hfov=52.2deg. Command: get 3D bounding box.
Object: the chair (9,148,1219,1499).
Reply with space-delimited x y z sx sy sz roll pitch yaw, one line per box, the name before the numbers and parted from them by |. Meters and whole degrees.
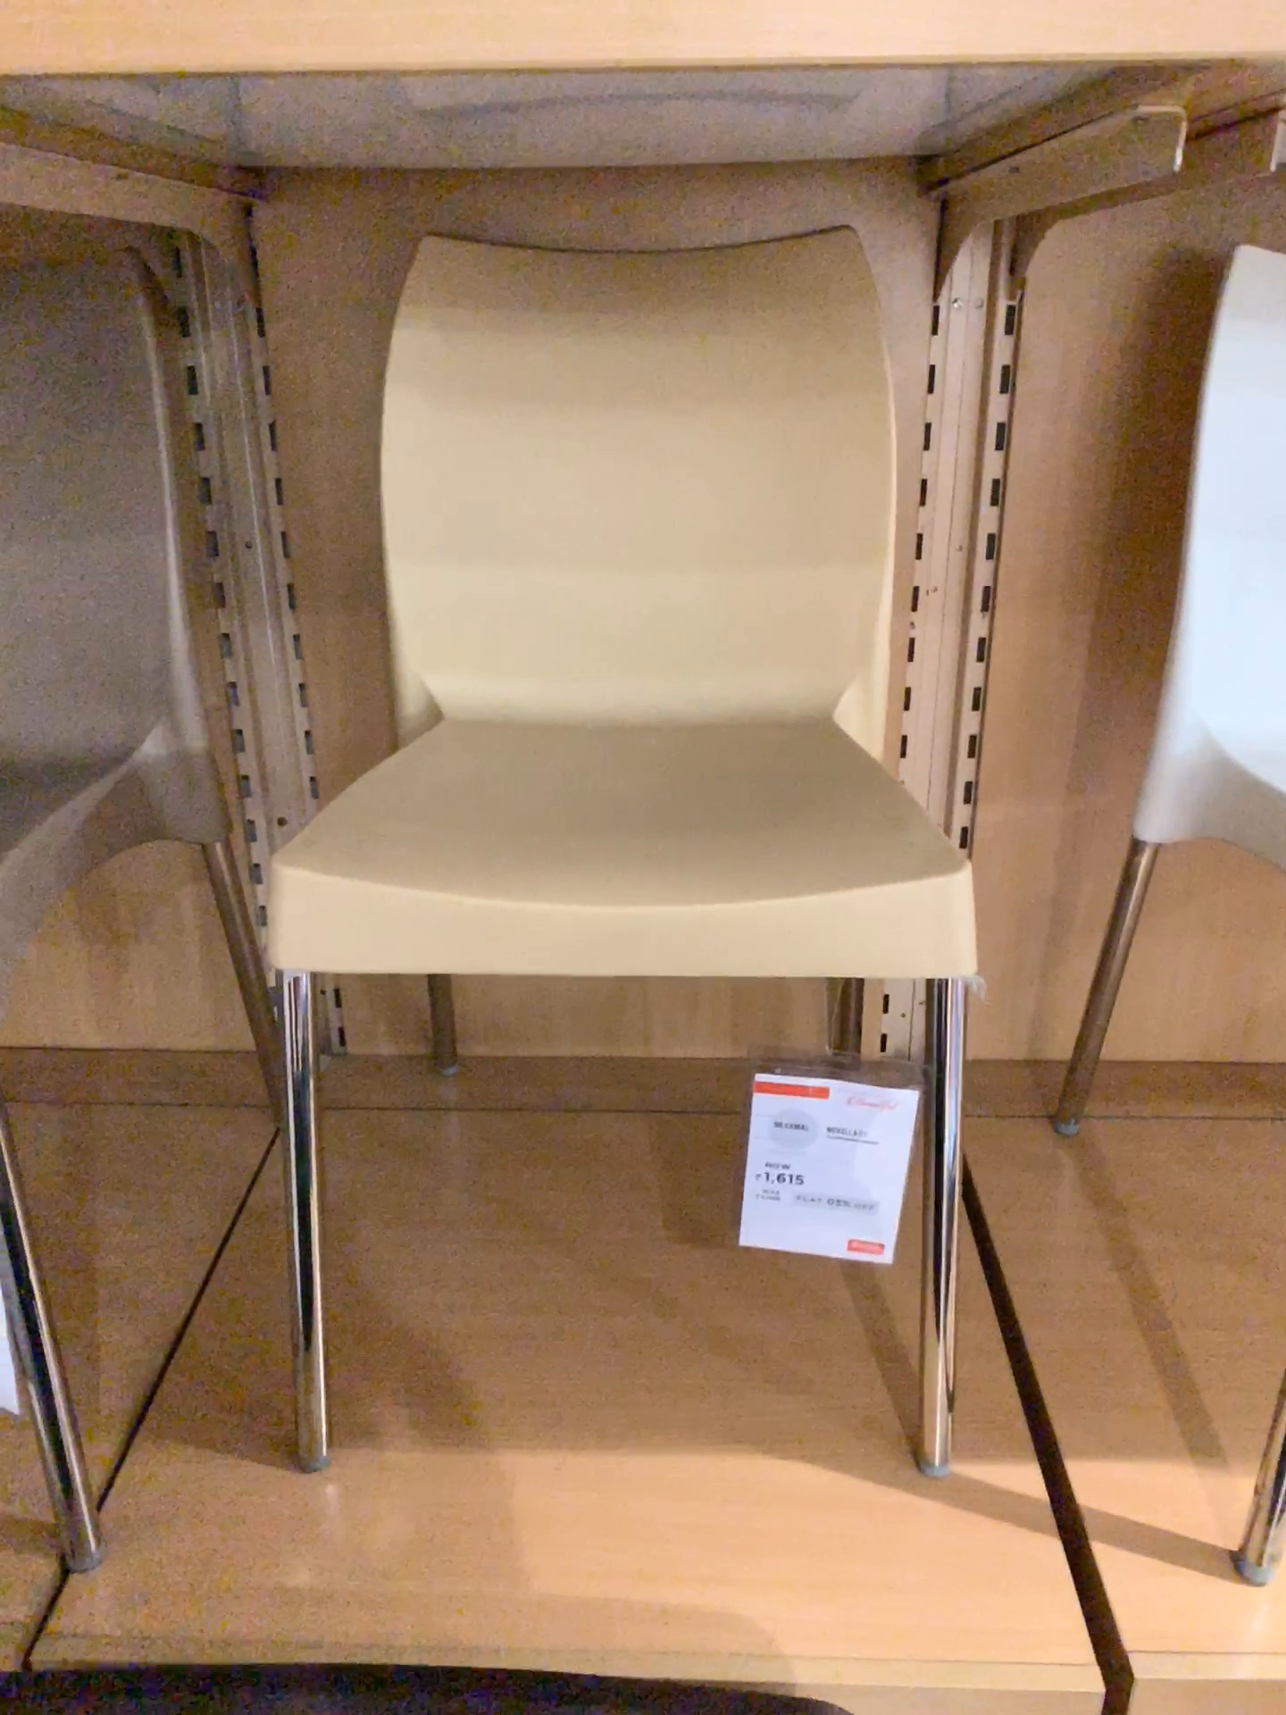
chair | -0.025 -0.054 1.015 0.540 0.807 0.592 2 23 -1
